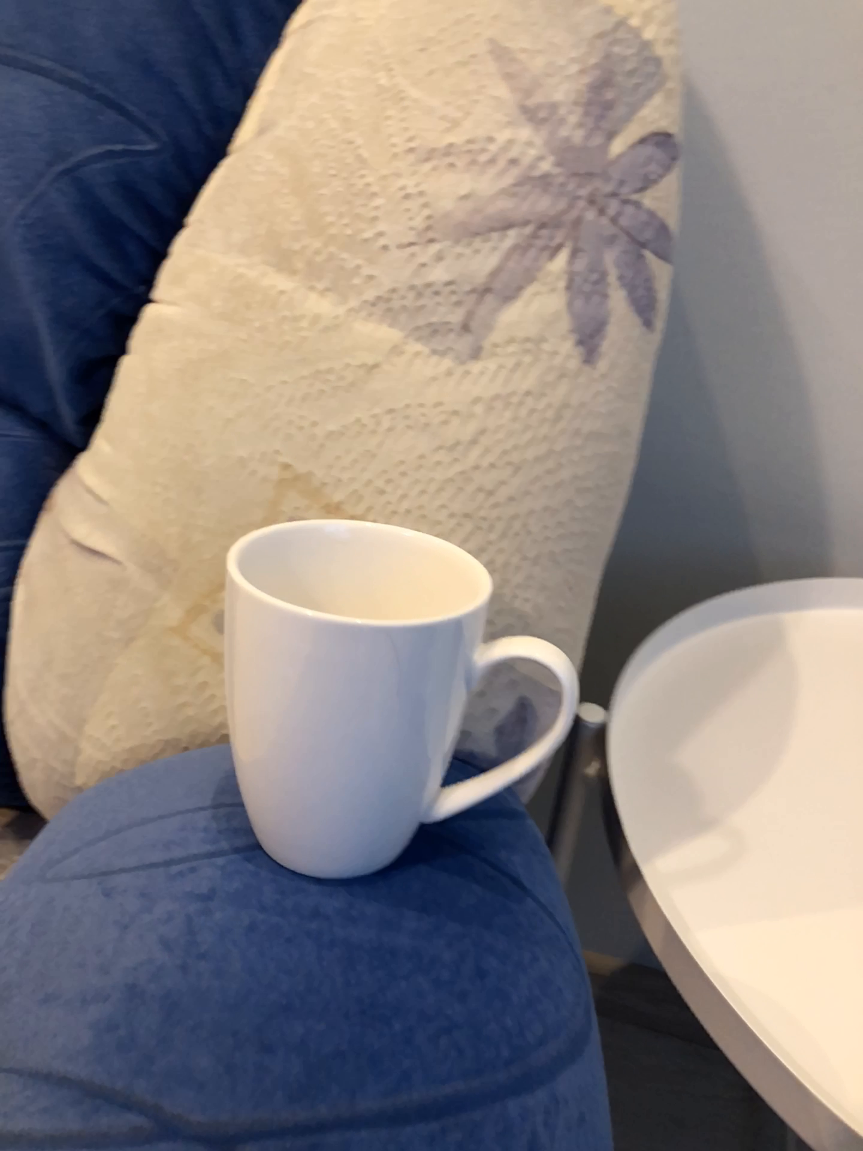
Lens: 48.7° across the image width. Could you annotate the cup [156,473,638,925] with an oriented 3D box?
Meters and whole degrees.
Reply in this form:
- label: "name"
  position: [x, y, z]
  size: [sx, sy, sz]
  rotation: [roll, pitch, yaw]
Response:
- label: "cup"
  position: [-0.008, 0.030, 0.268]
  size: [0.110, 0.079, 0.081]
  rotation: [8, 27, 3]
